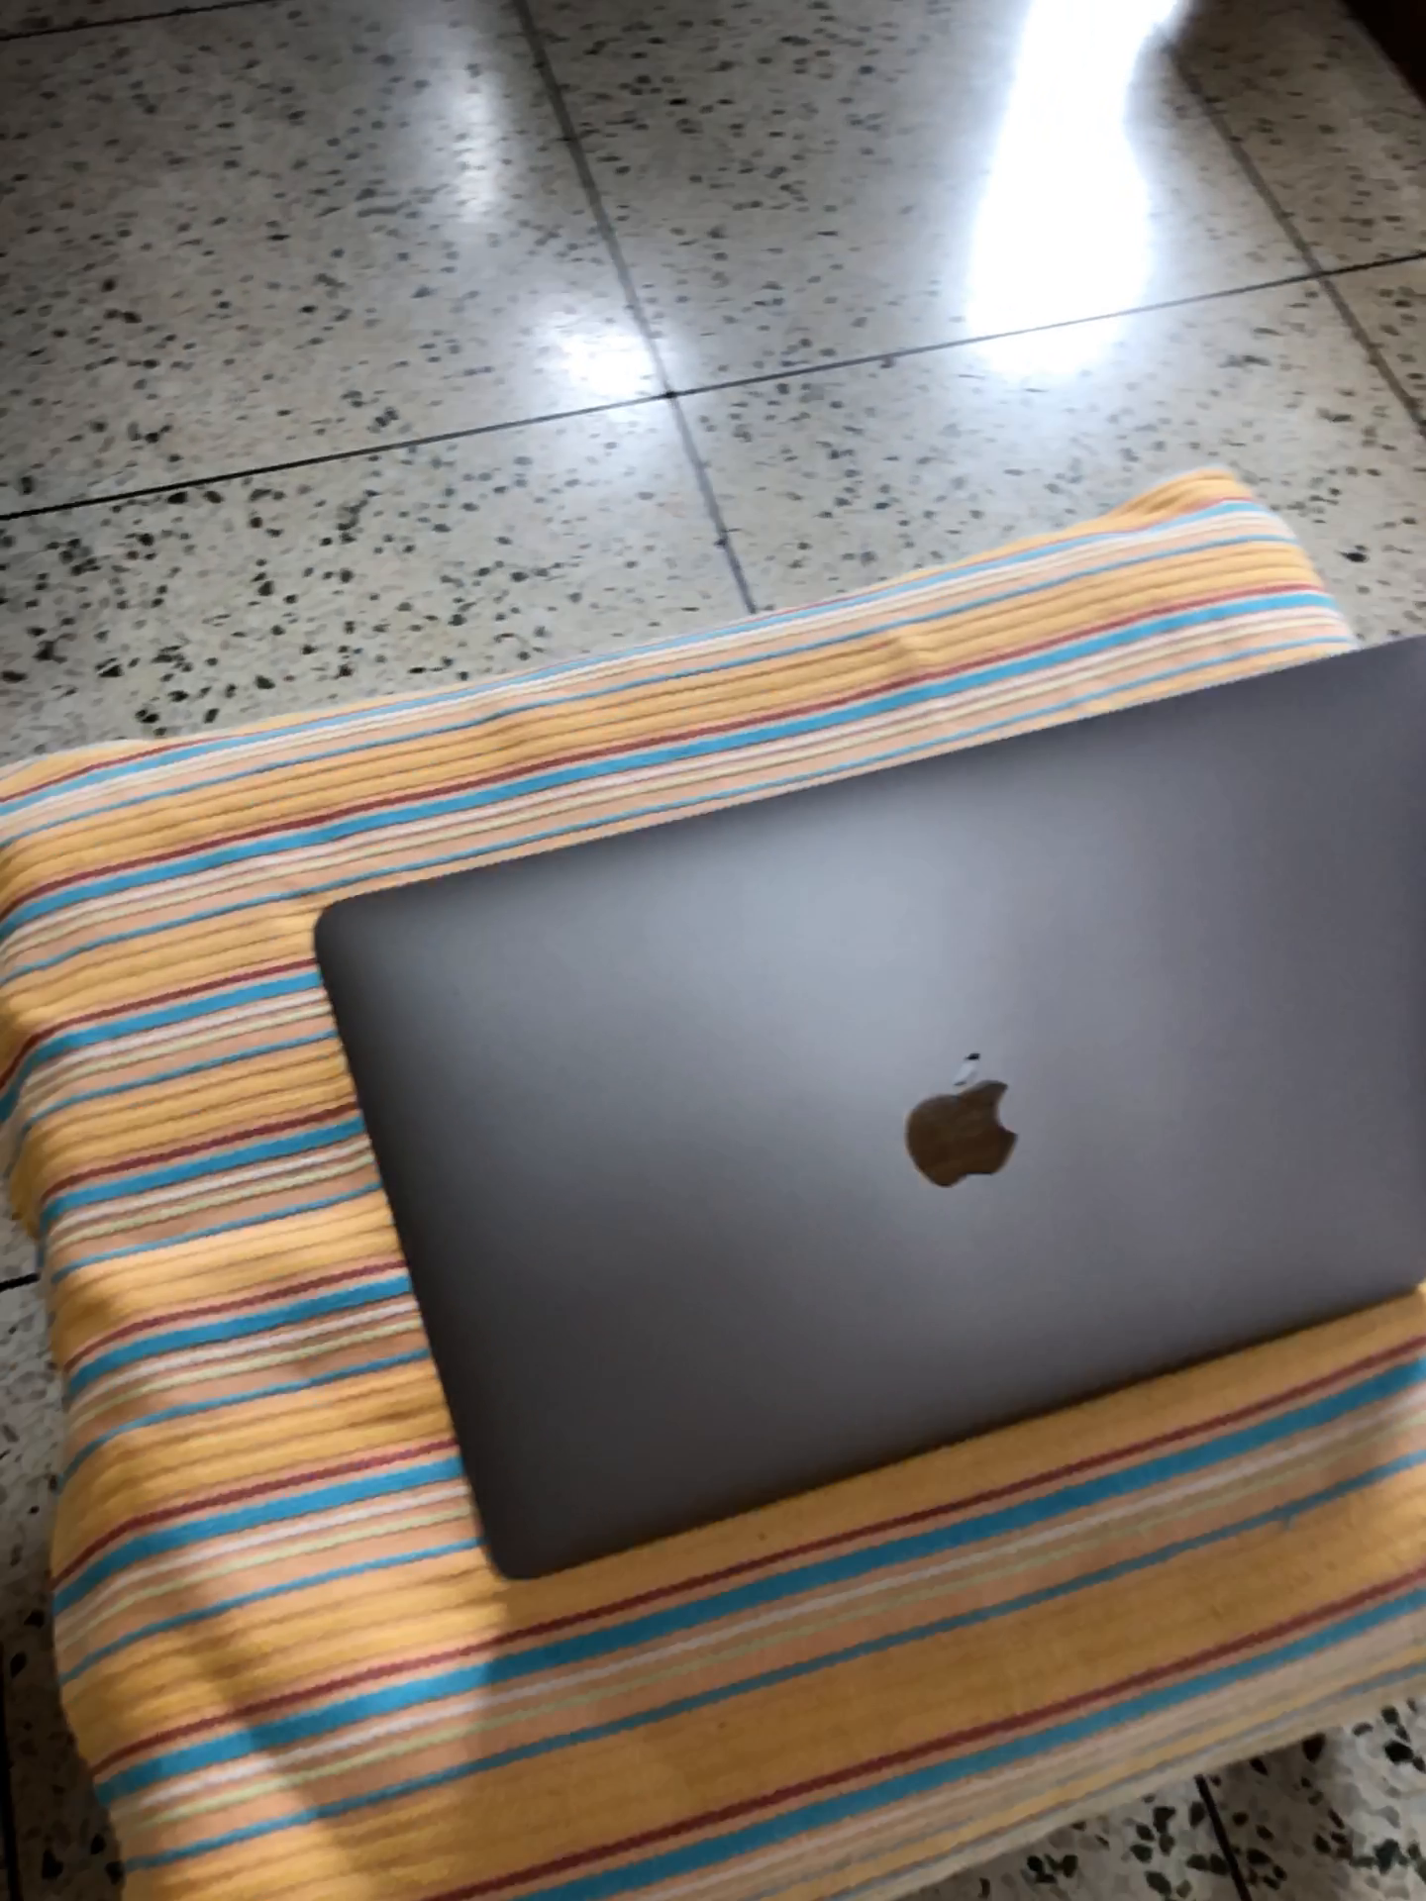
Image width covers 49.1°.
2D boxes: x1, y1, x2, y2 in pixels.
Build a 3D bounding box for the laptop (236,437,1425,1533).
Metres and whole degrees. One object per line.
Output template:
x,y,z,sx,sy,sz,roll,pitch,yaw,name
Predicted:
0.046,0.010,0.447,0.294,0.160,0.204,-13,63,-9,laptop
